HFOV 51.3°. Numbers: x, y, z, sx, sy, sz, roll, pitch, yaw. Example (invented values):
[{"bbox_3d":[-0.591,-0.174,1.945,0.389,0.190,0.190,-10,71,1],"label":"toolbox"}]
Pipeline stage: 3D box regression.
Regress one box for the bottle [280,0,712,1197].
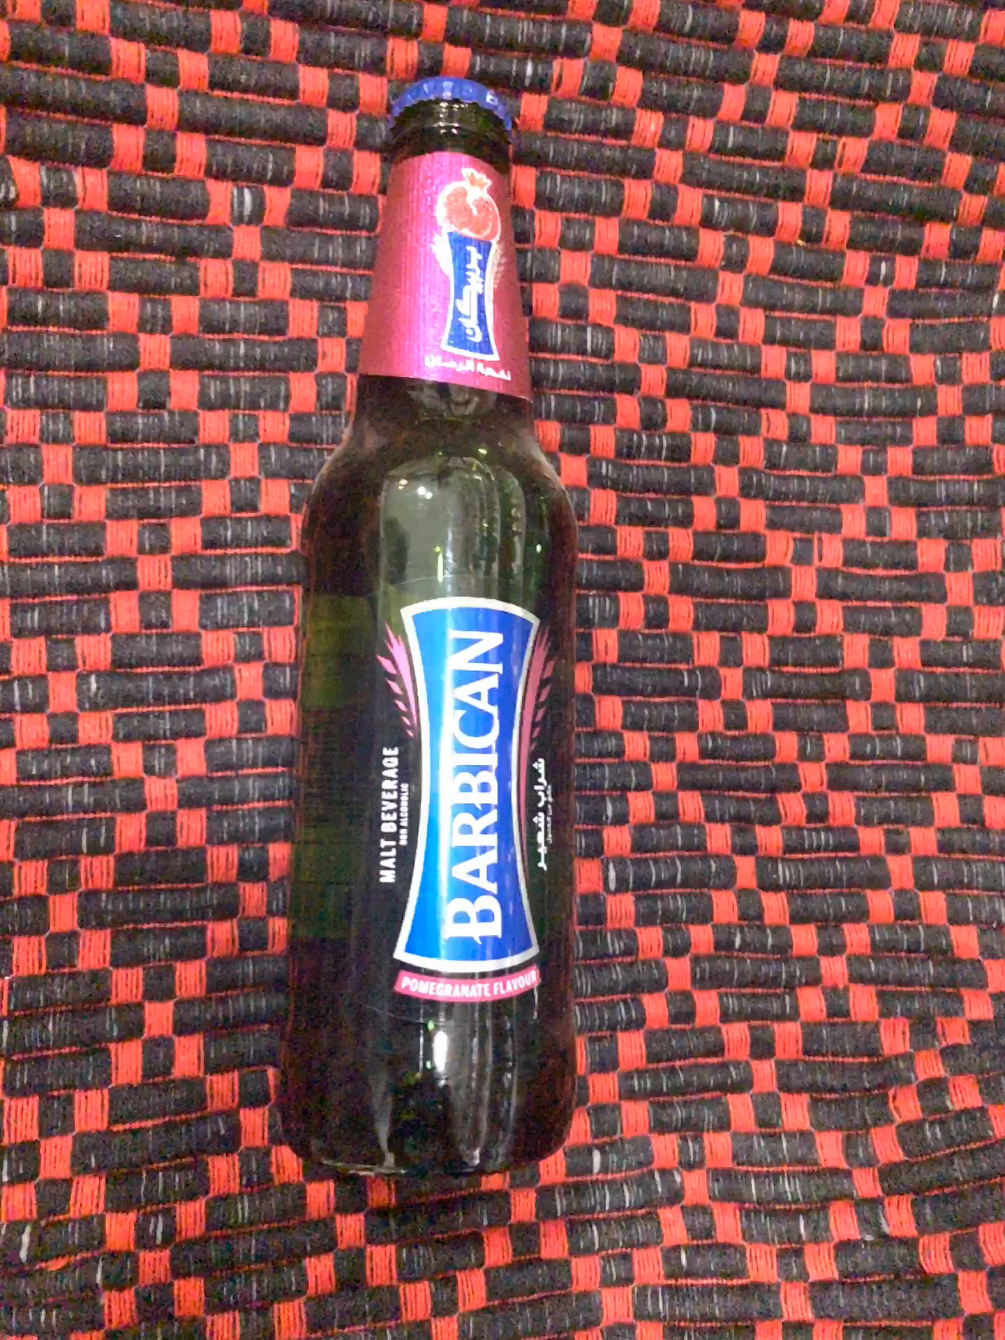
[{"bbox_3d":[-0.012,-0.026,0.234,0.070,0.080,0.240,1,77,-13],"label":"bottle"}]
